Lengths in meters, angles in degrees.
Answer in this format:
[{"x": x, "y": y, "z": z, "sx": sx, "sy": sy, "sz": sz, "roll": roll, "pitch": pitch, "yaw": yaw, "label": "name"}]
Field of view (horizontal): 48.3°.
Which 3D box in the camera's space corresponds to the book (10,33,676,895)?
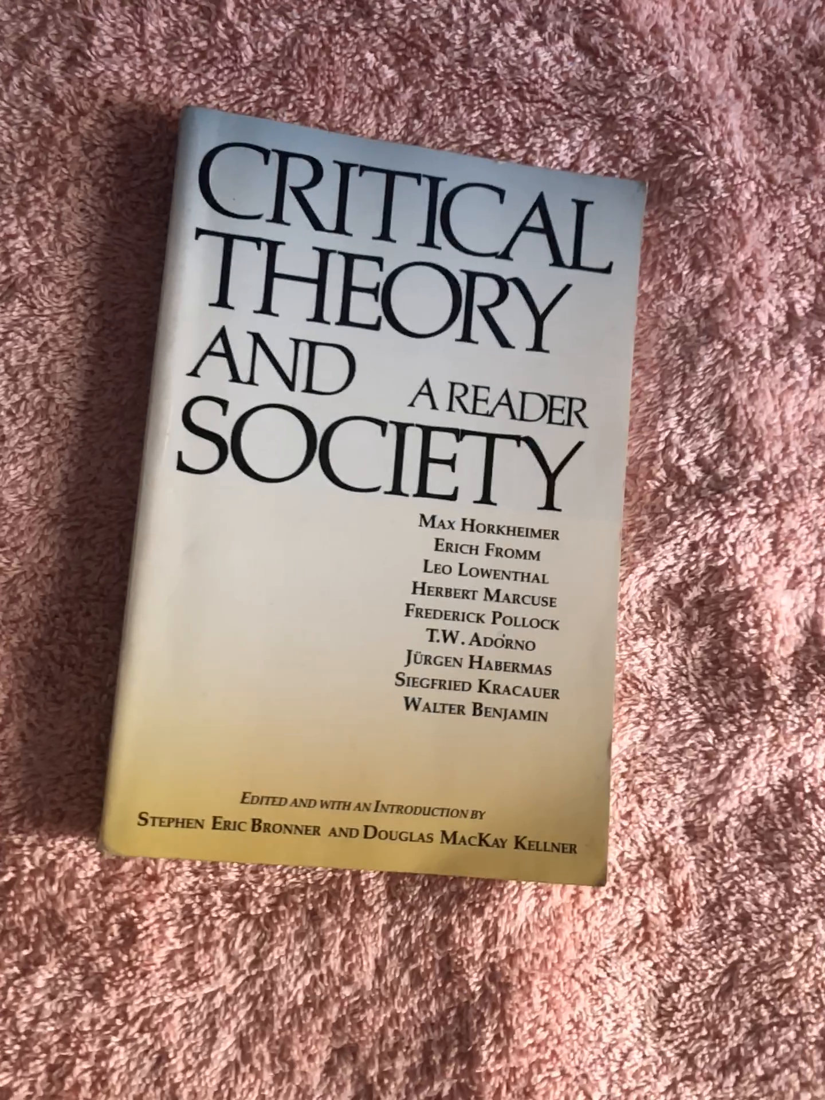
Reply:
[{"x": -0.015, "y": -0.021, "z": 0.287, "sx": 0.170, "sy": 0.050, "sz": 0.230, "roll": 6, "pitch": 84, "yaw": -11, "label": "book"}]
